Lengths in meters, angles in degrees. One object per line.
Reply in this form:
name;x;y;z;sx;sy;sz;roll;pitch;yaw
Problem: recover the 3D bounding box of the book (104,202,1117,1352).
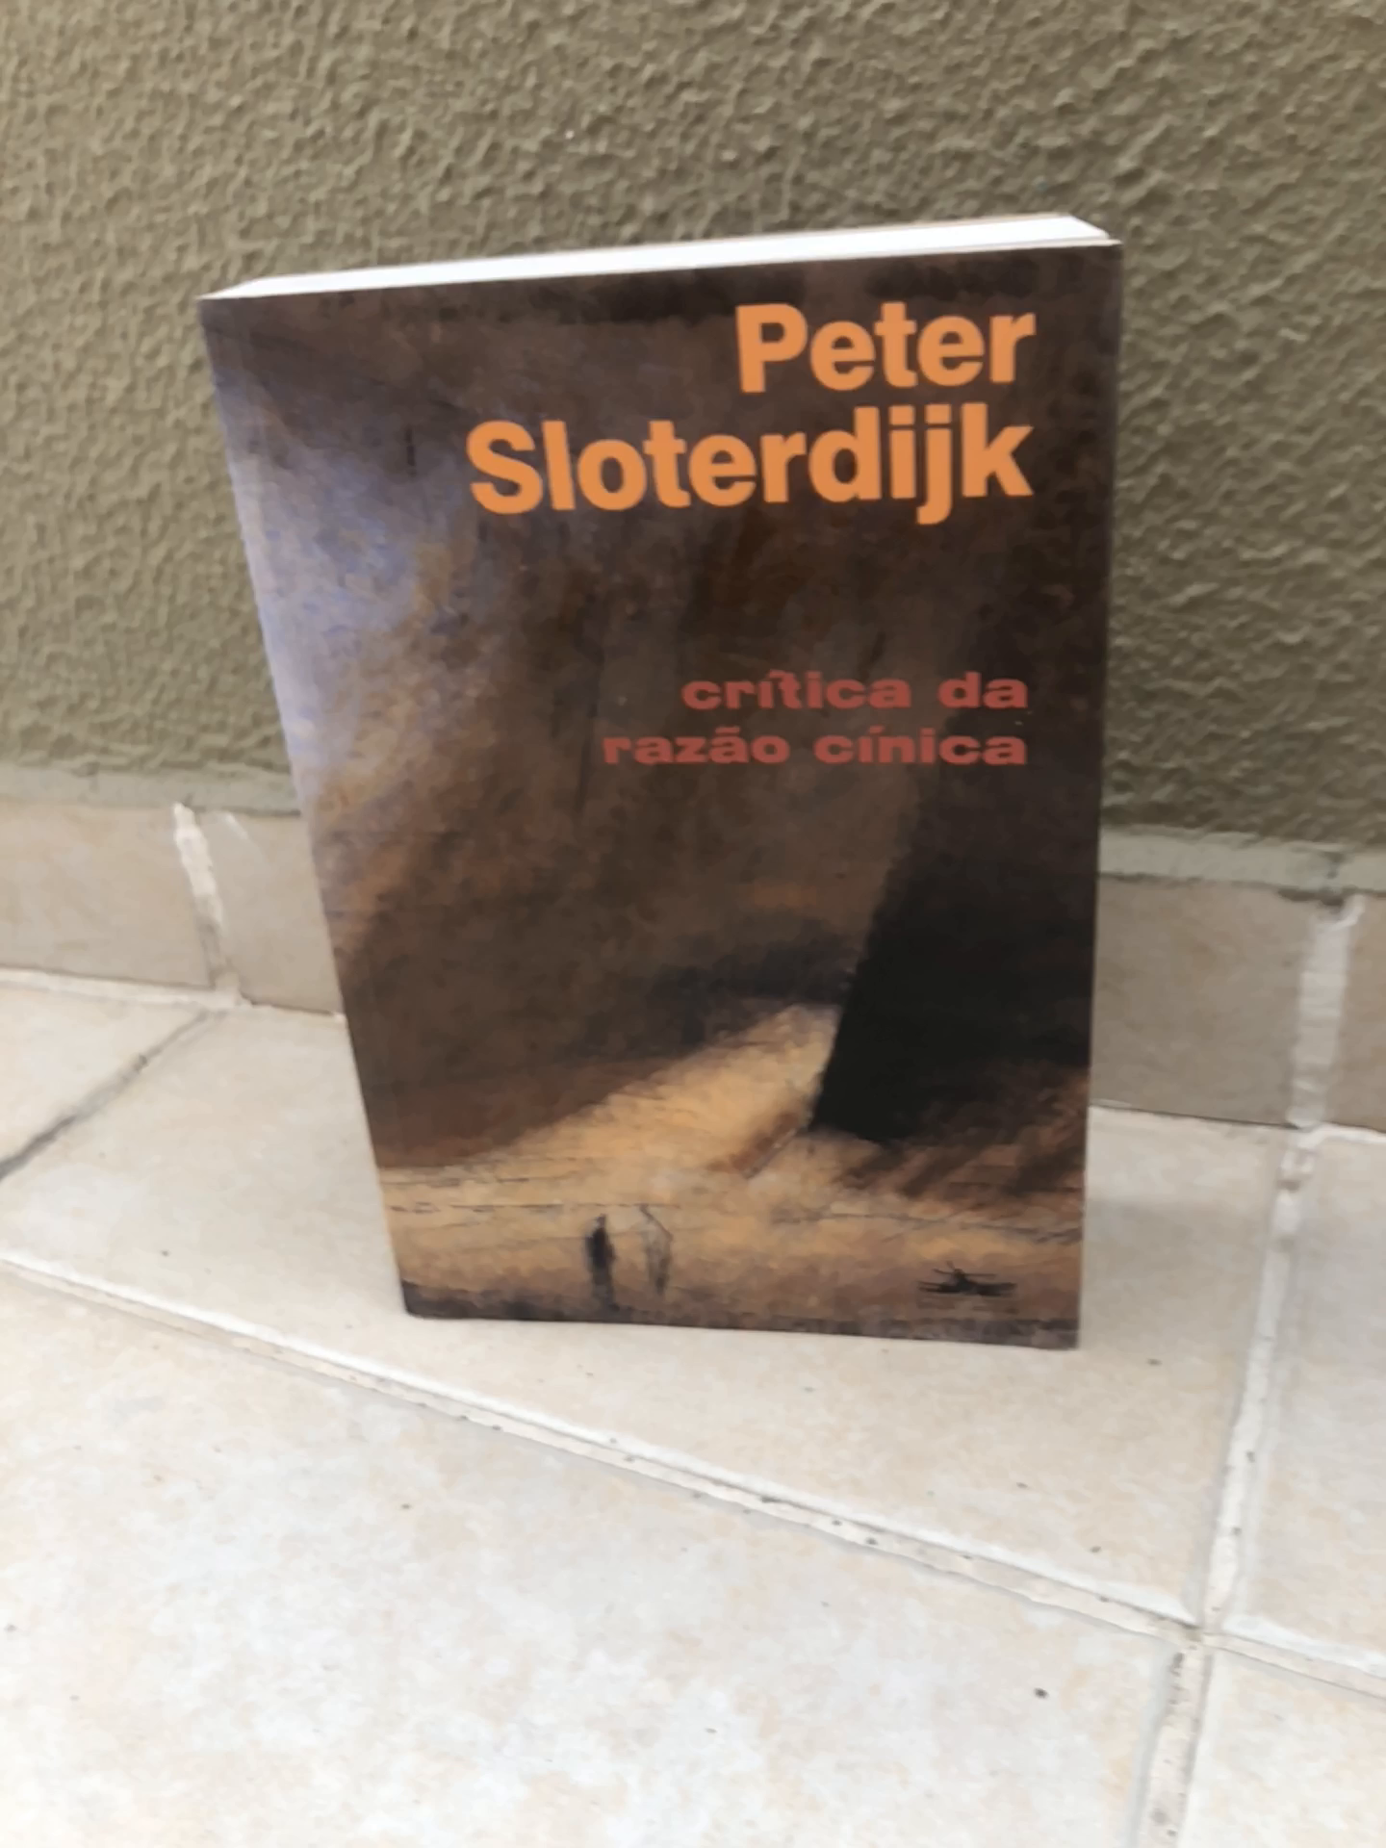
book;-0.004;-0.020;0.321;0.165;0.220;0.058;0;27;10
